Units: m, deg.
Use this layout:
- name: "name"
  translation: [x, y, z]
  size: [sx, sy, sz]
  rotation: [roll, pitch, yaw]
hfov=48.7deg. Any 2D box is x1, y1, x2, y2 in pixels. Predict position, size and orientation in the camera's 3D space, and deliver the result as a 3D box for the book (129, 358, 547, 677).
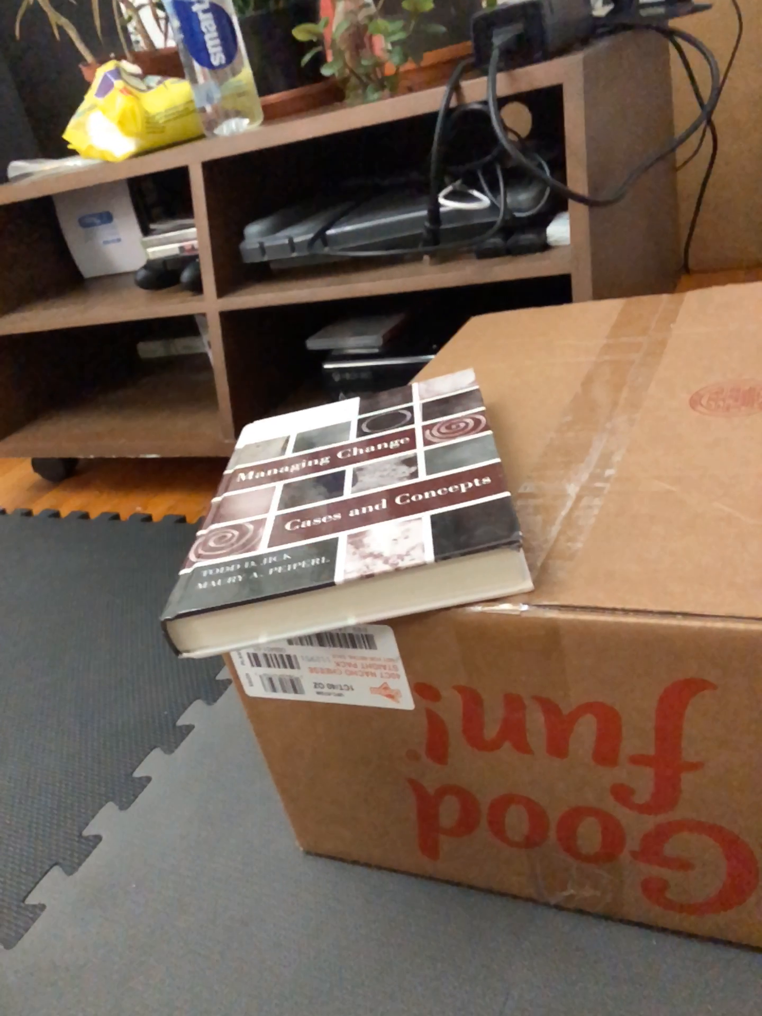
- name: "book"
  translation: [-0.019, -0.013, 0.477]
  size: [0.180, 0.030, 0.251]
  rotation: [-12, 27, 6]
